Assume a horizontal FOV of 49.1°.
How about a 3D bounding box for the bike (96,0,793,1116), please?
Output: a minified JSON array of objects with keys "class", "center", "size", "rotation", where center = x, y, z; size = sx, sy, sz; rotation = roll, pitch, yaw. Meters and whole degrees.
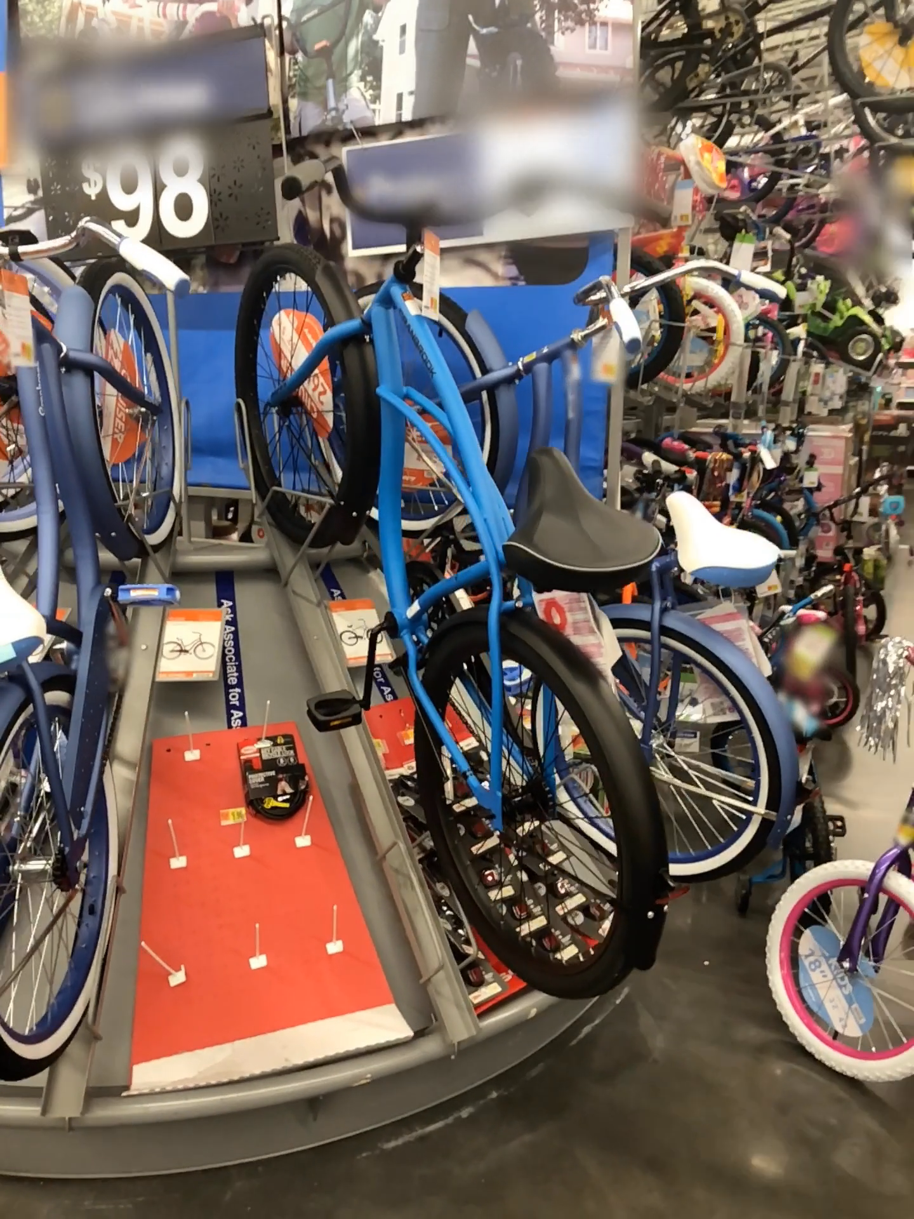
[{"class":"bike","center":[-0.109,-0.577,1.741],"size":[0.505,1.121,1.564],"rotation":[-8,41,-36]}]
